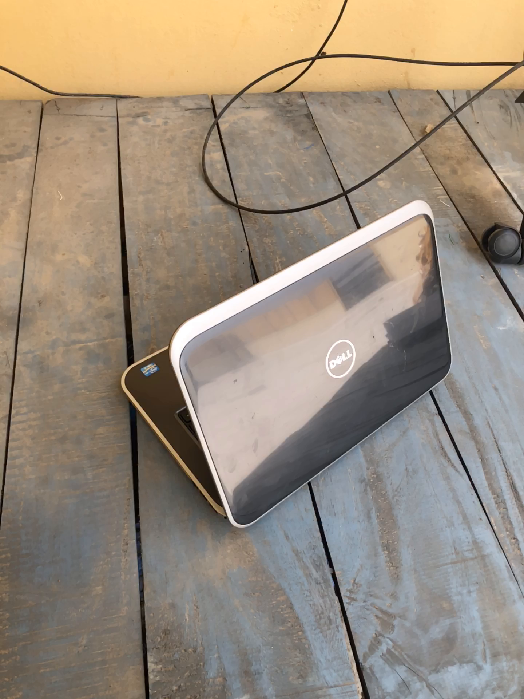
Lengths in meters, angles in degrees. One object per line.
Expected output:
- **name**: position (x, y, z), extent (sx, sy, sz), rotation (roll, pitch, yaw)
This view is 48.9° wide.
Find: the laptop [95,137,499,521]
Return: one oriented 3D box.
- **laptop**: position (0.040, -0.037, 0.648), extent (0.348, 0.206, 0.216), rotation (-30, 60, -26)
